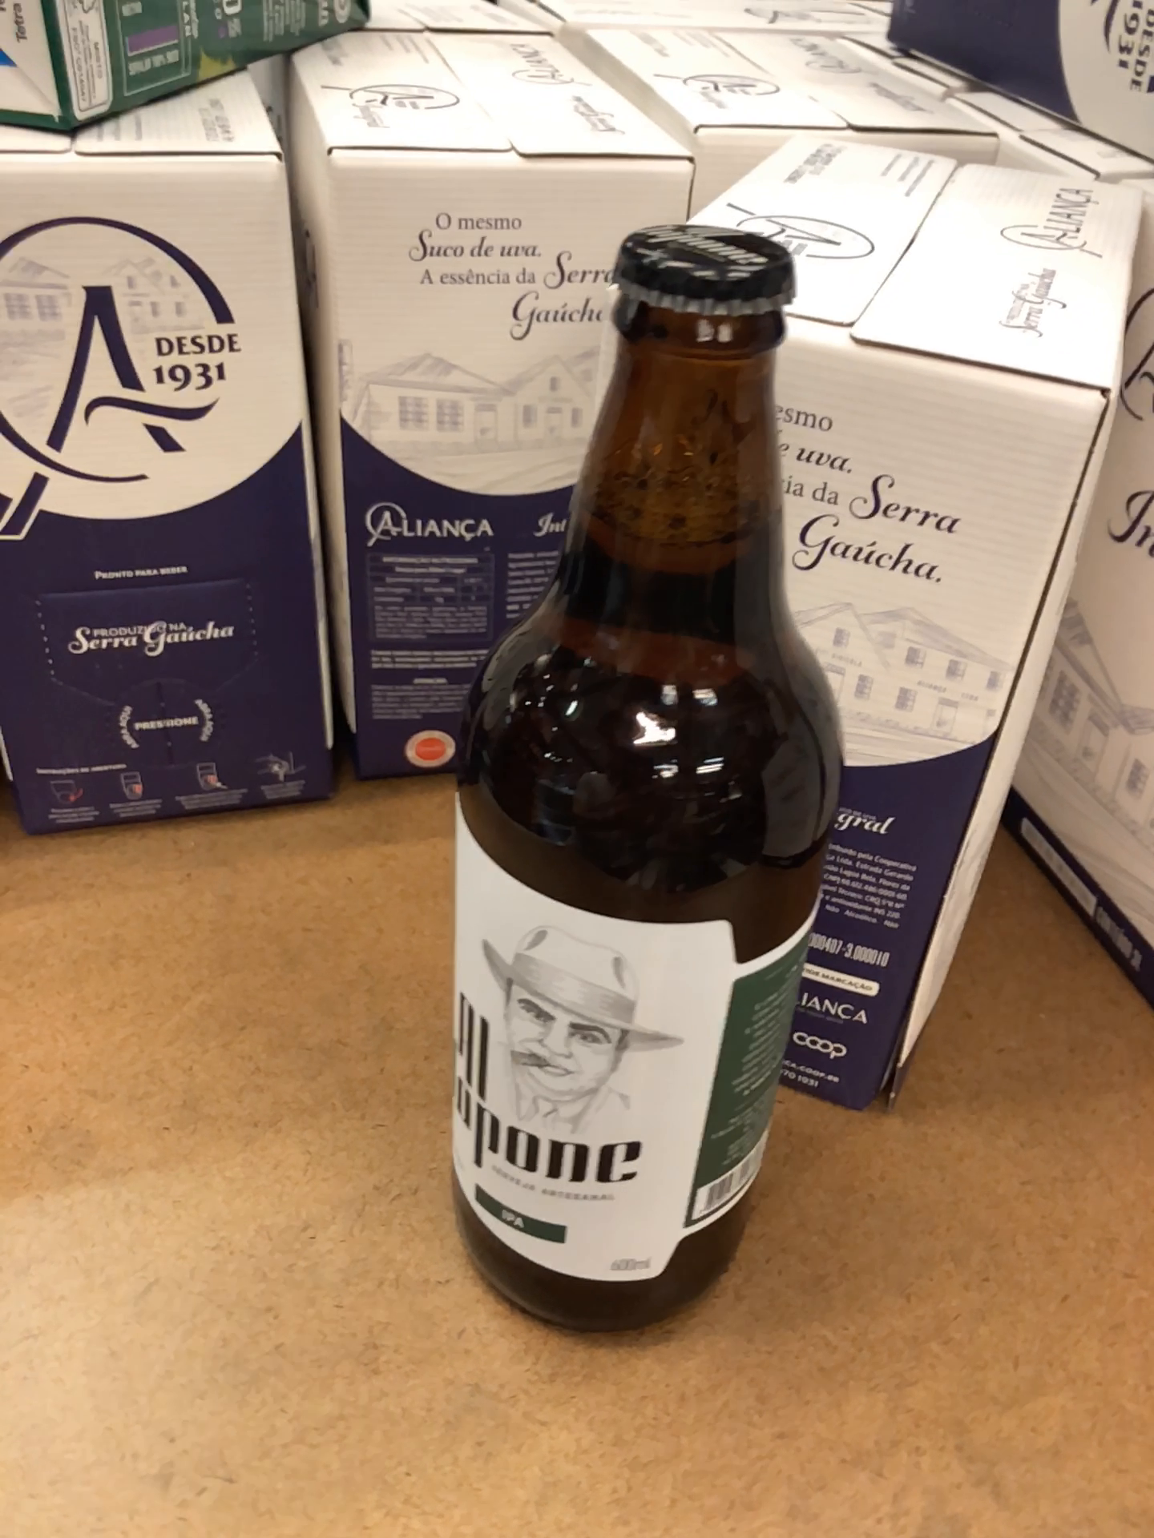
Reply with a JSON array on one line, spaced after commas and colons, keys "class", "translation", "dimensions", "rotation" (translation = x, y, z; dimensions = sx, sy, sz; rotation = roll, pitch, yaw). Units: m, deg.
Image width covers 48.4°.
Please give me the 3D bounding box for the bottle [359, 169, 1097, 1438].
[{"class": "bottle", "translation": [0.016, 0.020, 0.248], "dimensions": [0.080, 0.228, 0.070], "rotation": [25, 41, 25]}]
